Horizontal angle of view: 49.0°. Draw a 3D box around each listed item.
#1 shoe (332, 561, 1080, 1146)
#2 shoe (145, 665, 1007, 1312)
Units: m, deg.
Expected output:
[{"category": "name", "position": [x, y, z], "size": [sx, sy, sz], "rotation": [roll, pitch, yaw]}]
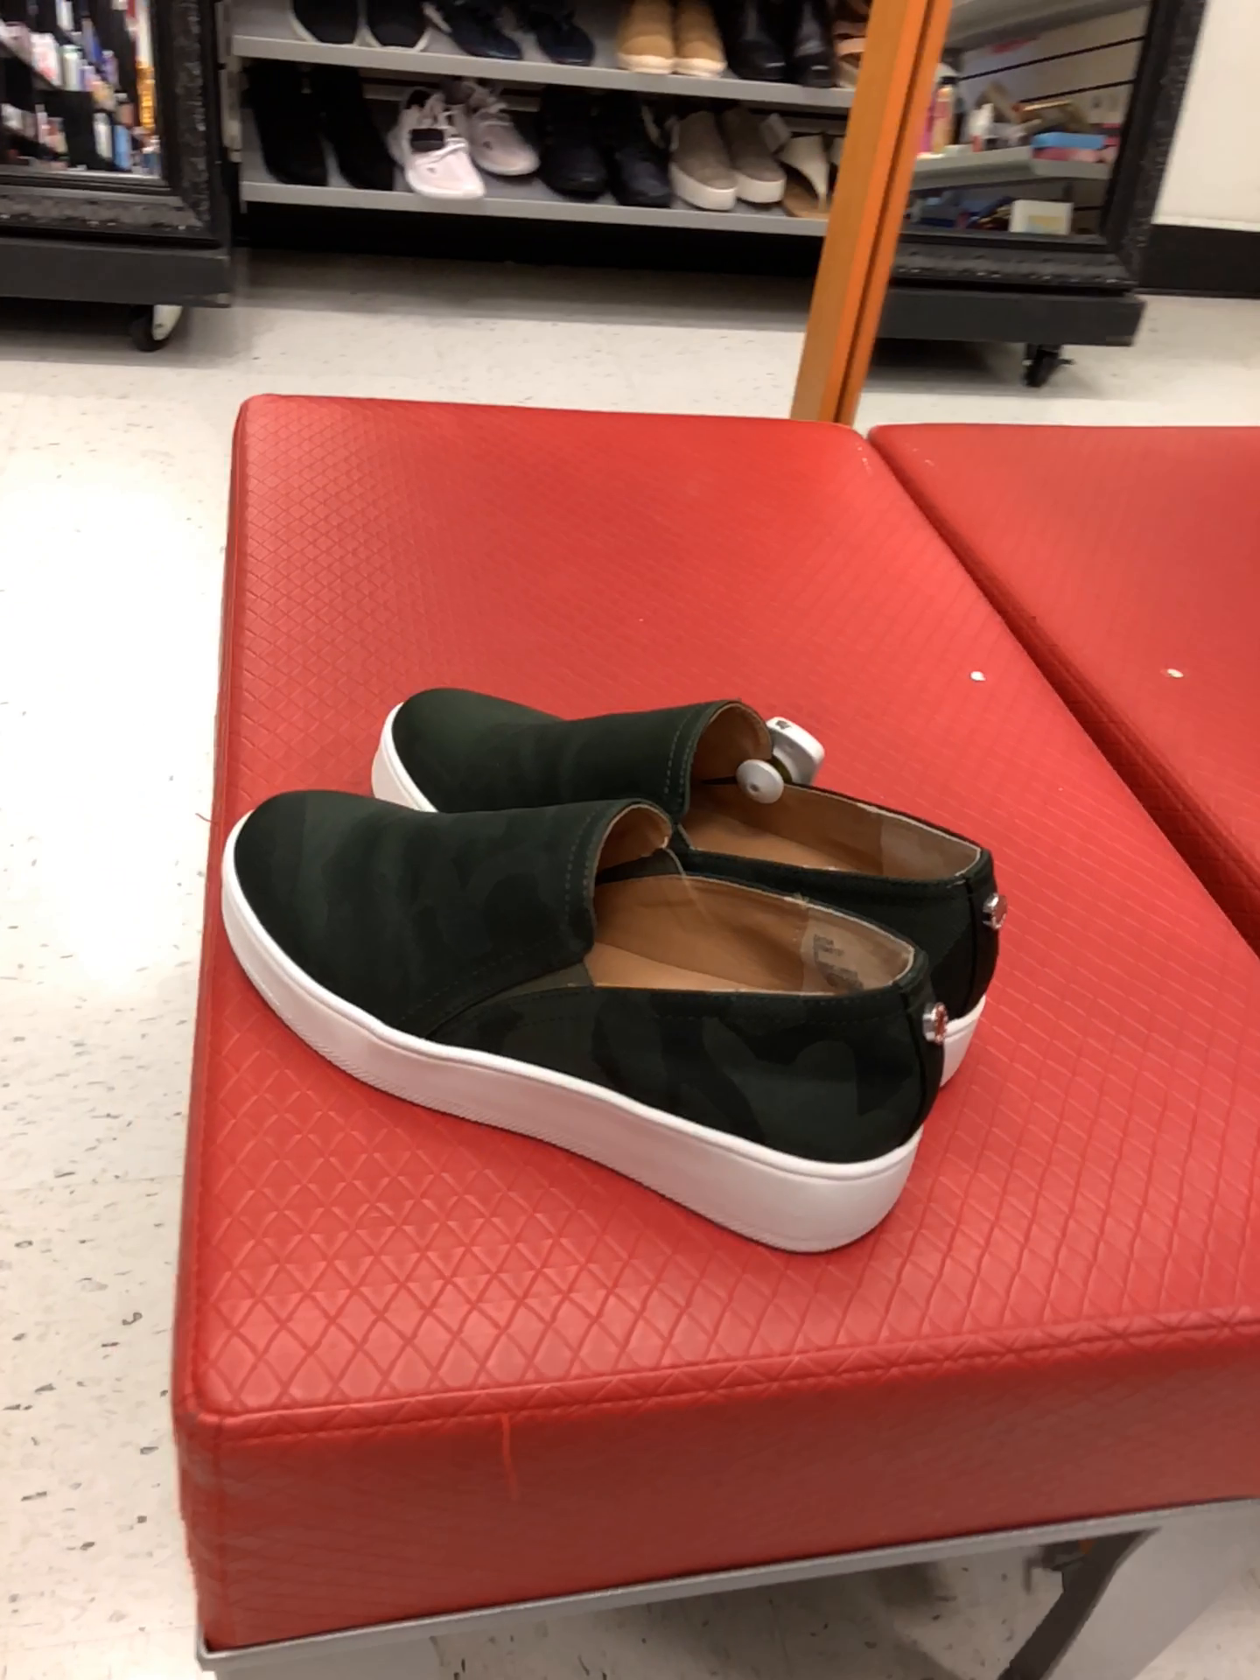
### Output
[{"category": "shoe", "position": [0.017, -0.005, 0.505], "size": [0.250, 0.090, 0.089], "rotation": [25, 41, 21]}, {"category": "shoe", "position": [-0.020, 0.039, 0.441], "size": [0.244, 0.090, 0.091], "rotation": [20, 39, 15]}]
